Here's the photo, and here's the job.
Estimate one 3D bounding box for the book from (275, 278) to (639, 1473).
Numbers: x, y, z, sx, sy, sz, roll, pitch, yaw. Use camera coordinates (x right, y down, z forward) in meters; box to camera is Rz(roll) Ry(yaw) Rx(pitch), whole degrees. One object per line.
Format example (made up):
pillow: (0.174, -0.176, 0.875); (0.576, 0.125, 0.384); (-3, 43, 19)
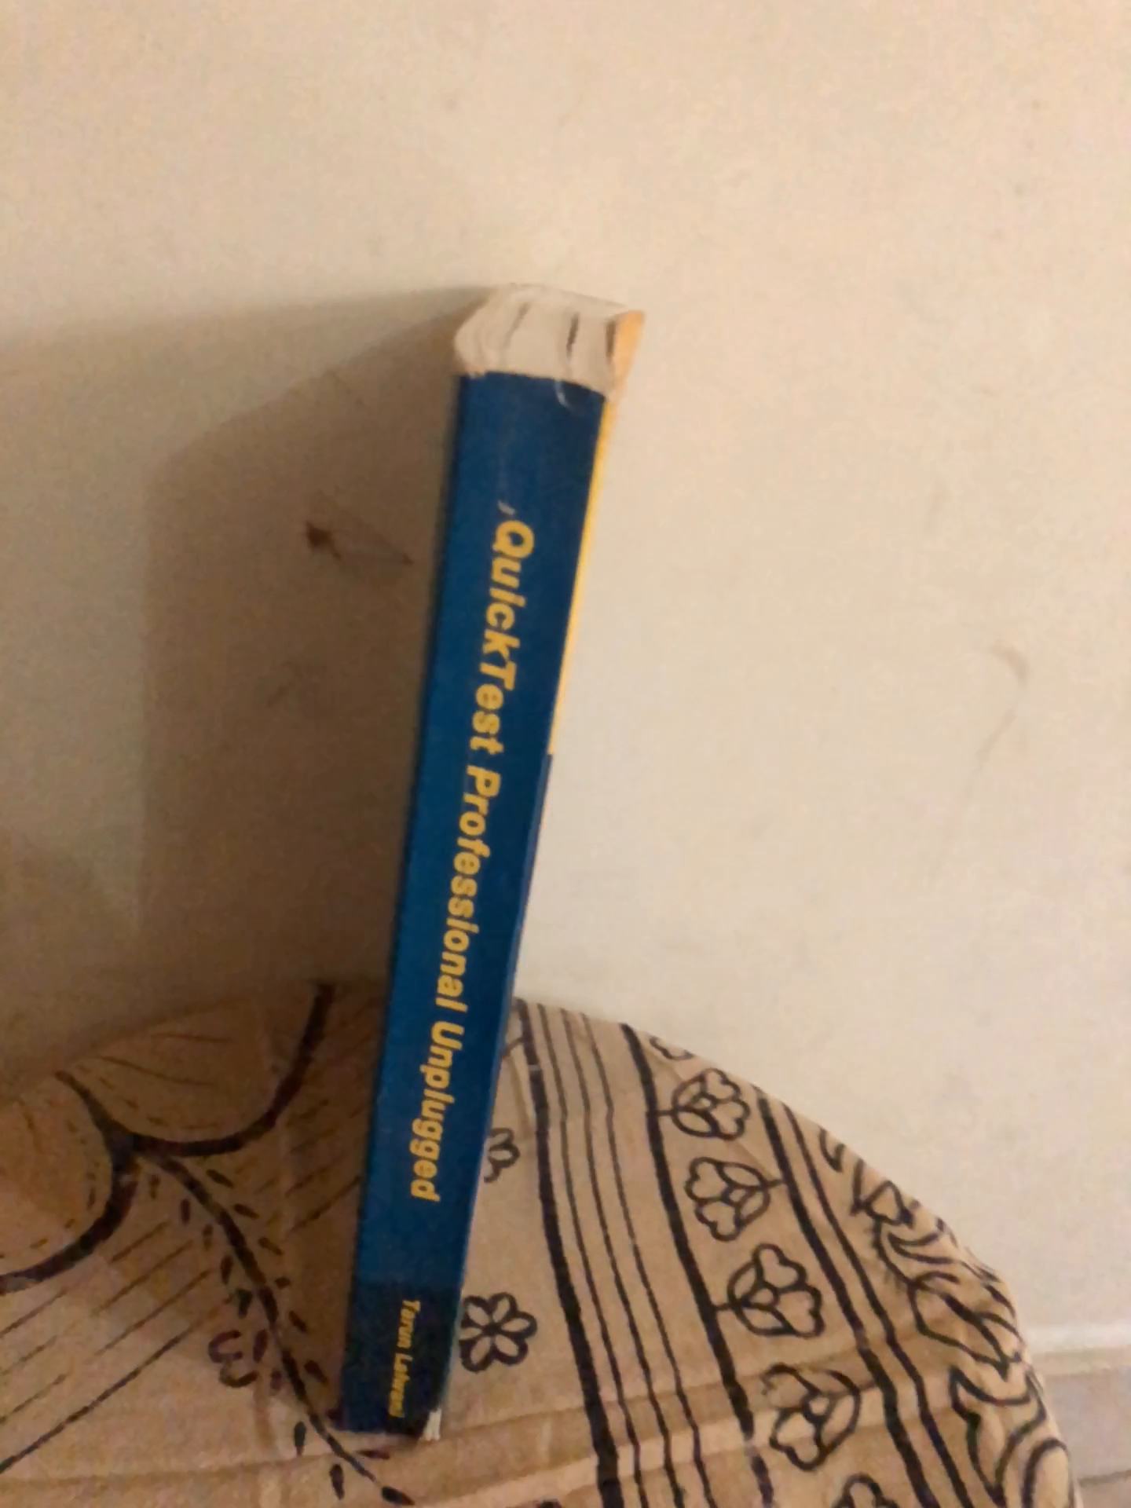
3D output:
book: (-0.026, 0.012, 0.360); (0.050, 0.269, 0.211); (8, 21, -1)
